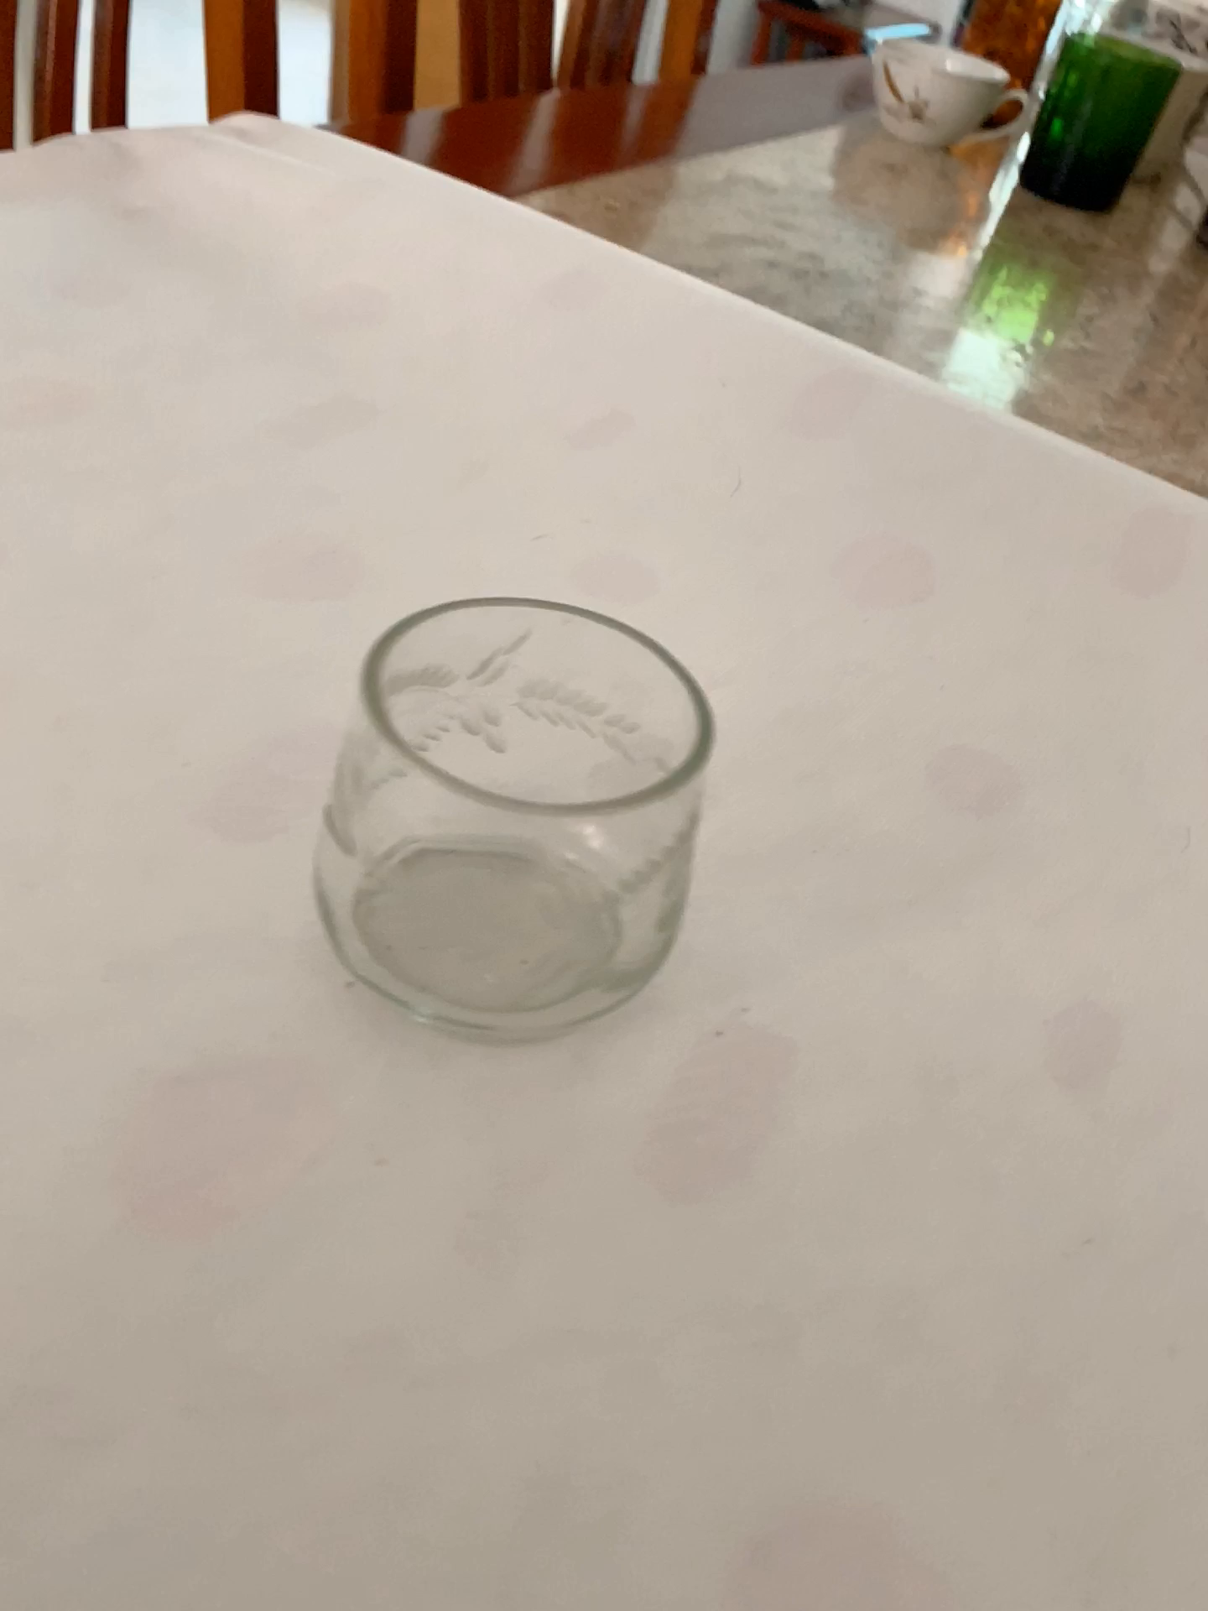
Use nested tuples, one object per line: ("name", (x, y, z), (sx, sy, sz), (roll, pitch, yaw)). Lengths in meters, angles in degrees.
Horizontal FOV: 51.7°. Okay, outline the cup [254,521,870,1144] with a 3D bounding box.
("cup", (-0.009, 0.000, 0.243), (0.080, 0.060, 0.080), (8, 40, -7))
